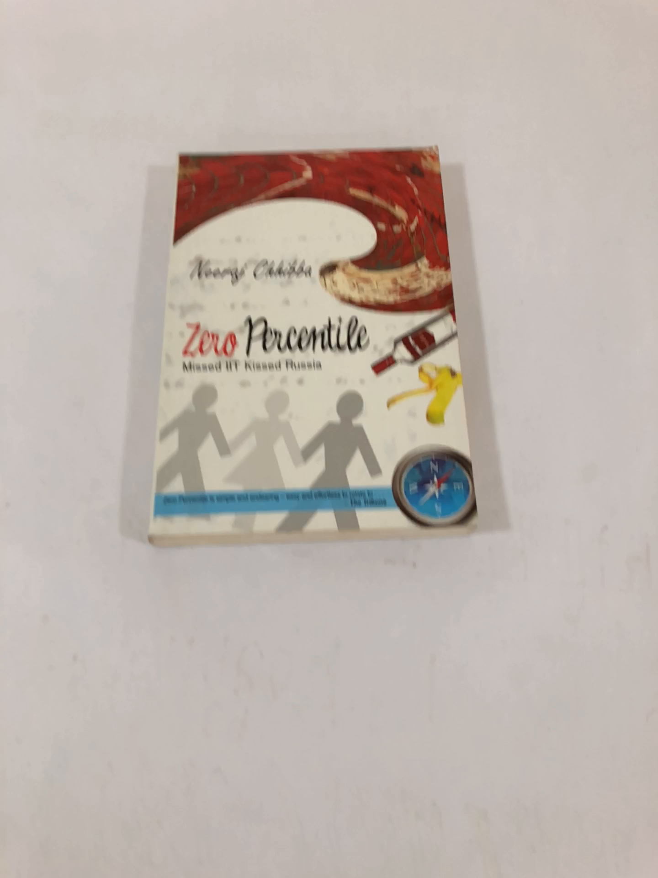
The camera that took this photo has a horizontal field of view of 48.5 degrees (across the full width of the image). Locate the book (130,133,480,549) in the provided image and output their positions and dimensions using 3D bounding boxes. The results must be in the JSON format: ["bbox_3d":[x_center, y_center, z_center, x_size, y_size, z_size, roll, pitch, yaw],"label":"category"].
[{"bbox_3d":[-0.010,-0.052,0.326,0.132,0.021,0.200,-1,66,0],"label":"book"}]
